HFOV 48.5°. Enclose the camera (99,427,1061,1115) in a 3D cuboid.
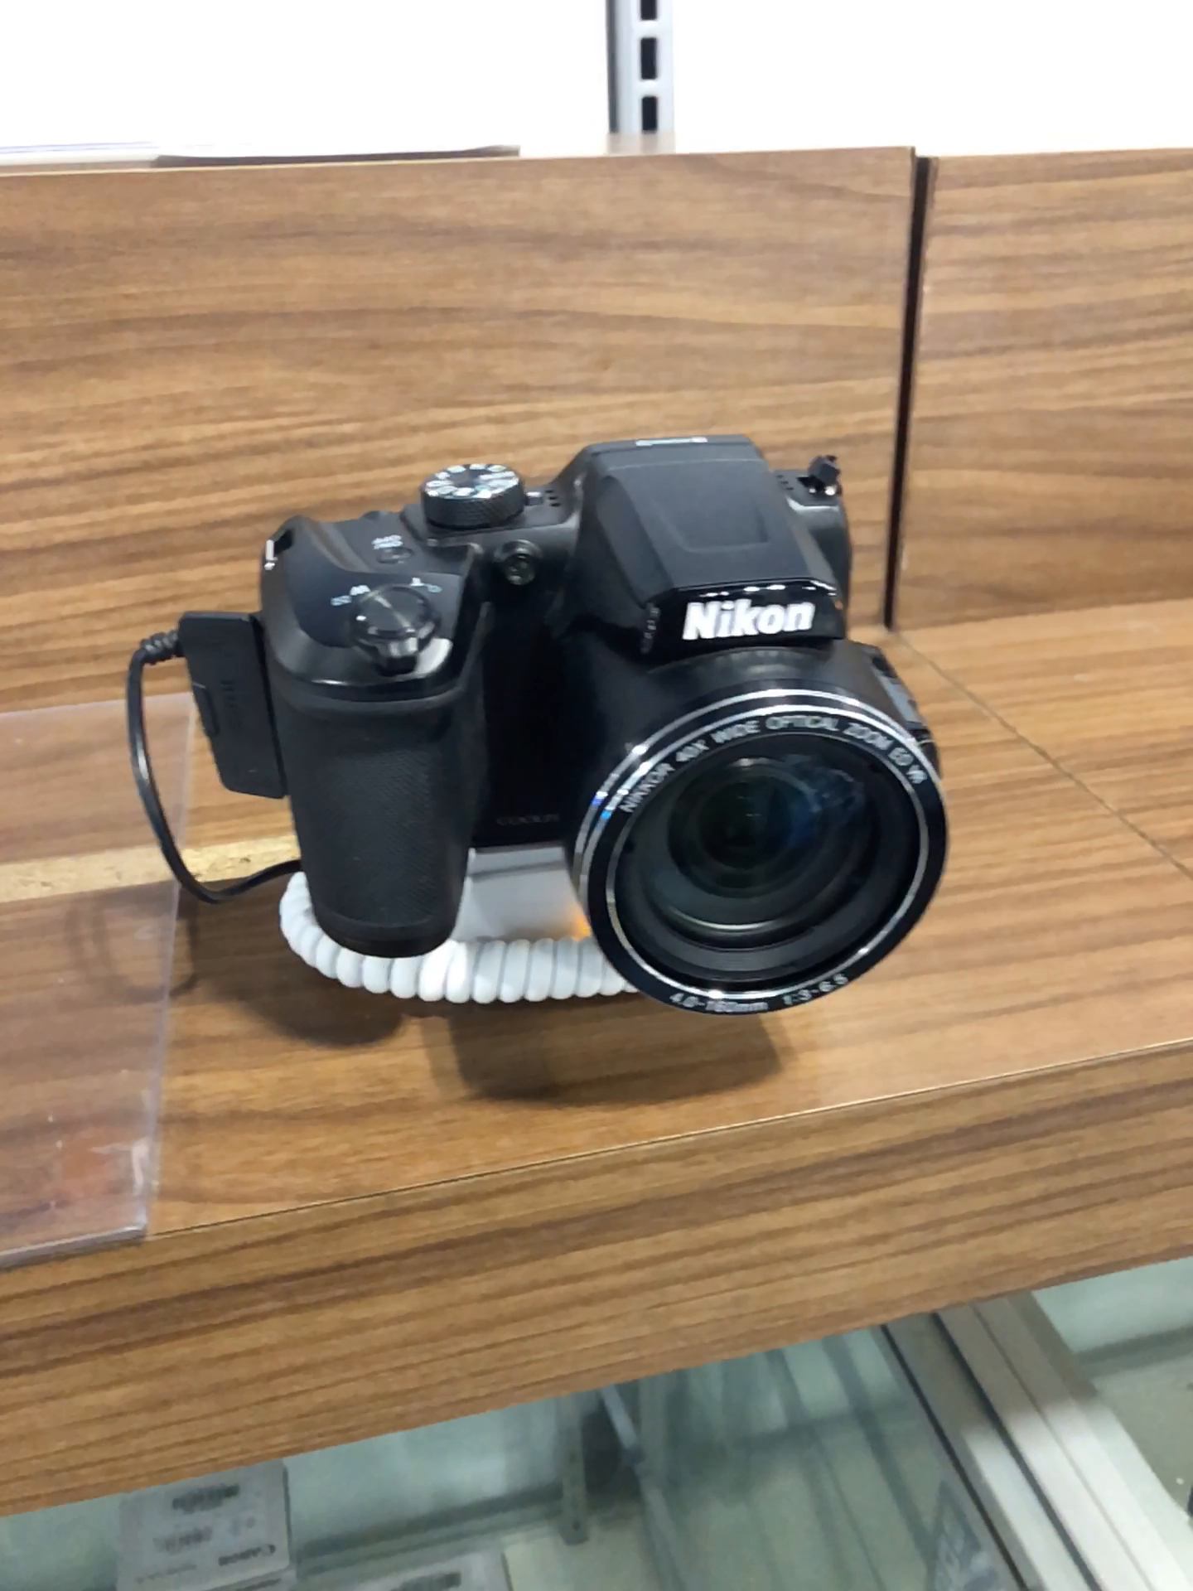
[{"bbox_3d":[-0.009,-0.015,0.233,0.130,0.070,0.101,-8,27,-12],"label":"camera"}]
